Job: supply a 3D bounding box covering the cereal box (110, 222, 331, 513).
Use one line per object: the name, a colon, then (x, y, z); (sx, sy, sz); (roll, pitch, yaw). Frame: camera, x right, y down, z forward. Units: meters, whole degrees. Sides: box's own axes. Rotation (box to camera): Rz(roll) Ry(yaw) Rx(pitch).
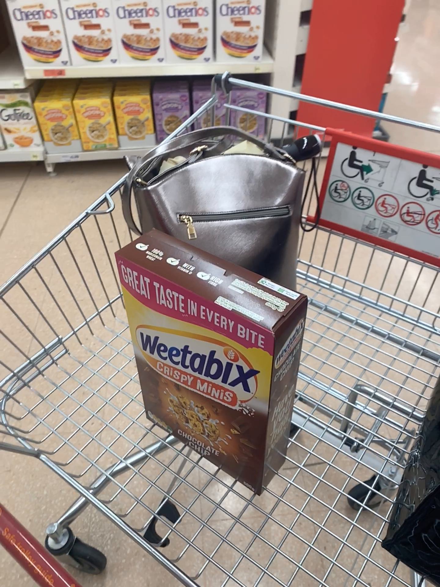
cereal box: (-0.006, 0.103, 0.543); (0.211, 0.327, 0.070); (25, 48, 25)
